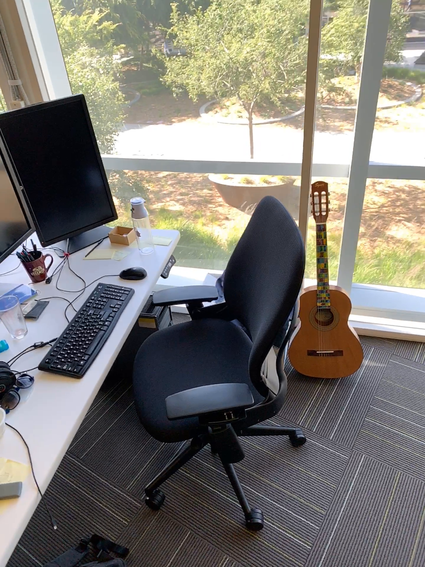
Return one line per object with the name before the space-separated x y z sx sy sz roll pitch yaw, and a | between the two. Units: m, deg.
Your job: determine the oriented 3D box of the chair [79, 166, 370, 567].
chair | 0.004 0.327 1.638 0.690 1.223 0.714 -12 37 -9
